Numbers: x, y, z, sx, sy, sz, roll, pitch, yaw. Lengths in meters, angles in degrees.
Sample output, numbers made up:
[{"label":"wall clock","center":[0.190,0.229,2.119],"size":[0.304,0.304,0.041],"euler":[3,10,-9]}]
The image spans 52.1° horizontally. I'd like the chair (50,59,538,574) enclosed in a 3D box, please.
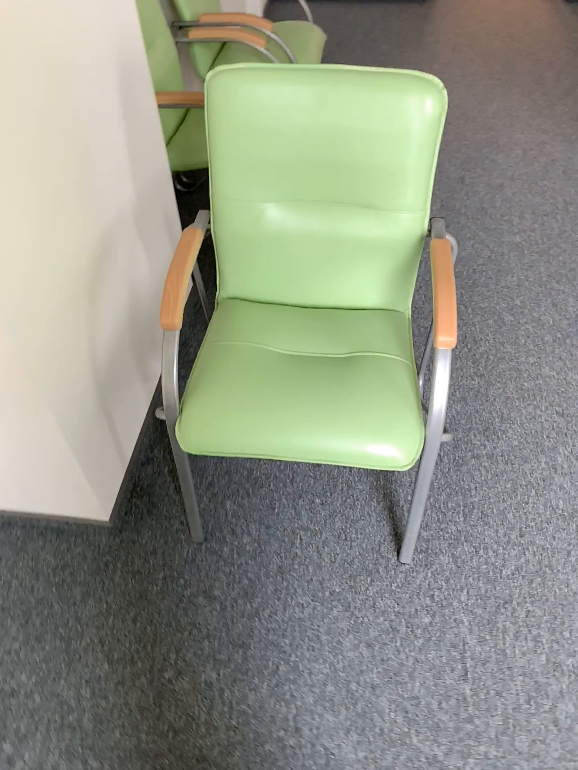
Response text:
[{"label":"chair","center":[0.046,-0.108,1.276],"size":[0.620,0.876,0.623],"euler":[4,49,6]}]
